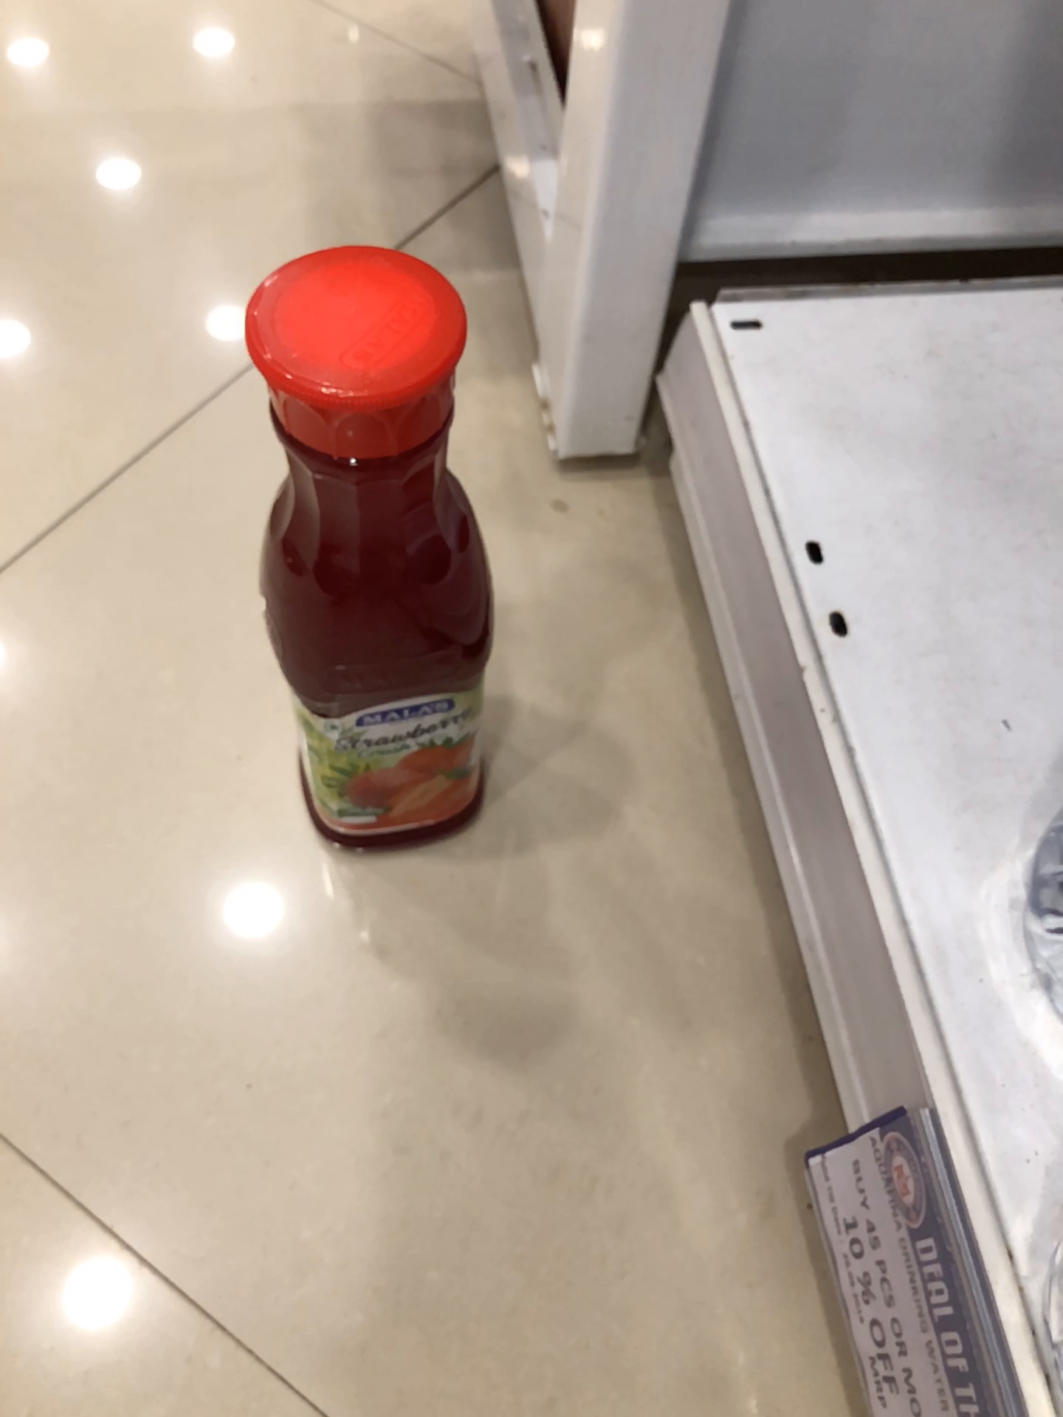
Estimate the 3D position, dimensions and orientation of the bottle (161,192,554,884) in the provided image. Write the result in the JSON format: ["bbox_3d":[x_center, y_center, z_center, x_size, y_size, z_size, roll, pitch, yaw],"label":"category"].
[{"bbox_3d":[-0.052,-0.031,0.384,0.080,0.249,0.070,-10,61,-11],"label":"bottle"}]
